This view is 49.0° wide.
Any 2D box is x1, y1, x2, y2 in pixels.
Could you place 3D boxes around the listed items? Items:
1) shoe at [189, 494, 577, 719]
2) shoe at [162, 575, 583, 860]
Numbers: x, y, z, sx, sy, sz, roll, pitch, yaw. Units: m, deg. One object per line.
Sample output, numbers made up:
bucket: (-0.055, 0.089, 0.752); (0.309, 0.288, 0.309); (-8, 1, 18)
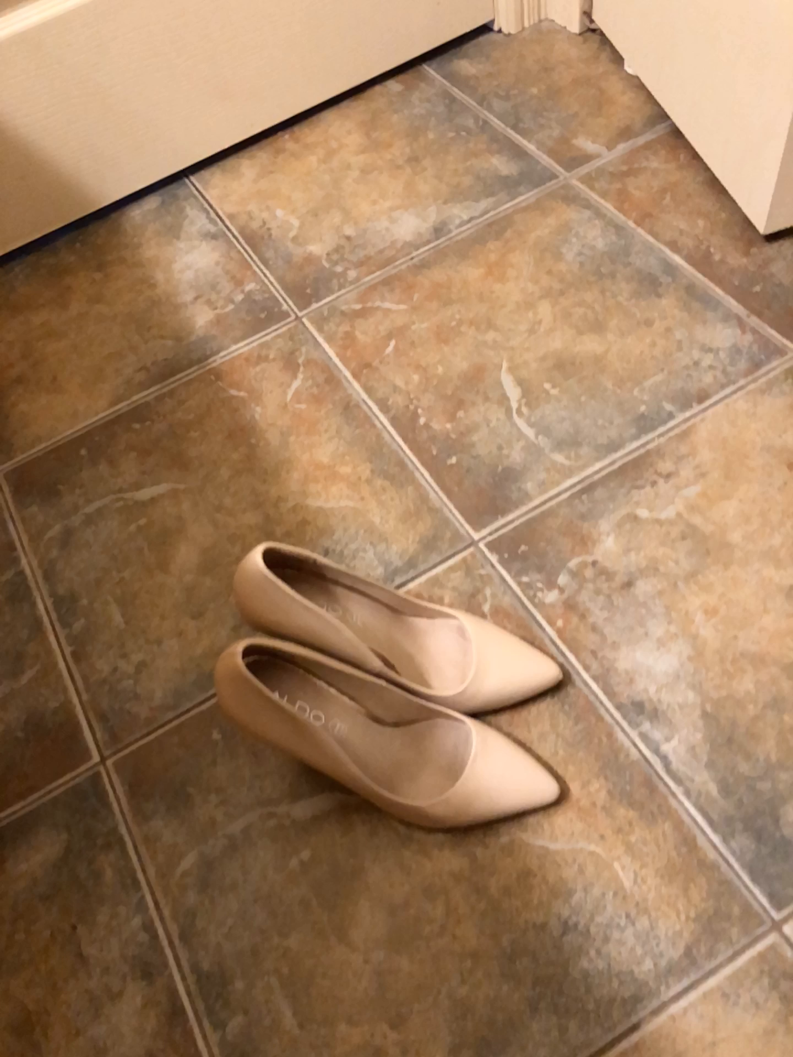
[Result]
shoe: (0.001, 0.053, 0.585); (0.230, 0.130, 0.080); (4, 57, 13)
shoe: (-0.005, 0.122, 0.556); (0.230, 0.150, 0.080); (10, 59, 17)
